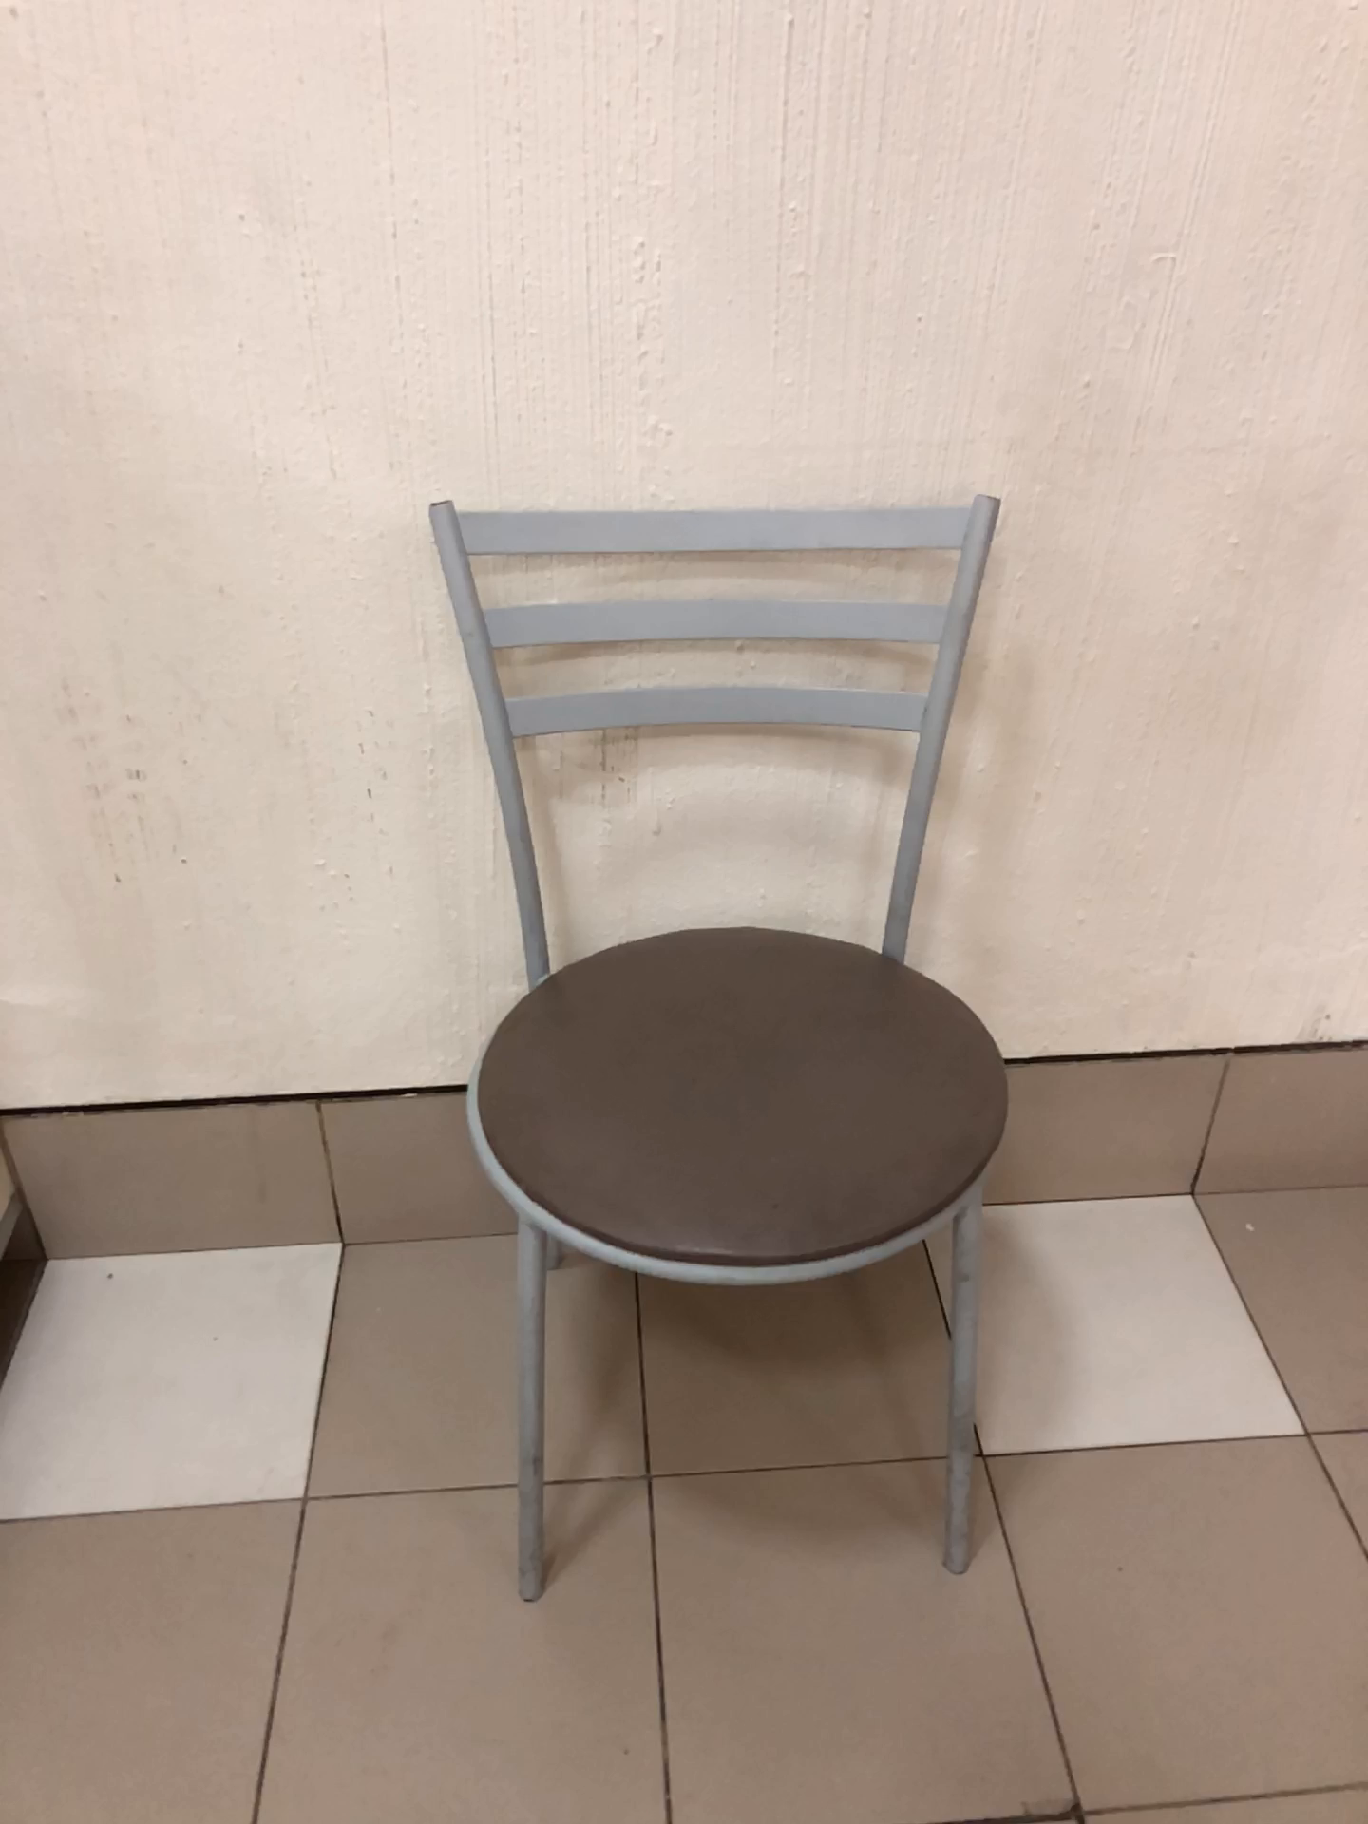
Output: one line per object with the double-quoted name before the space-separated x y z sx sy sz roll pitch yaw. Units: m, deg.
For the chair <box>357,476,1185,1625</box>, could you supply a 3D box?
"chair" 0.031 0.117 1.161 0.430 0.764 0.423 -3 34 -4
